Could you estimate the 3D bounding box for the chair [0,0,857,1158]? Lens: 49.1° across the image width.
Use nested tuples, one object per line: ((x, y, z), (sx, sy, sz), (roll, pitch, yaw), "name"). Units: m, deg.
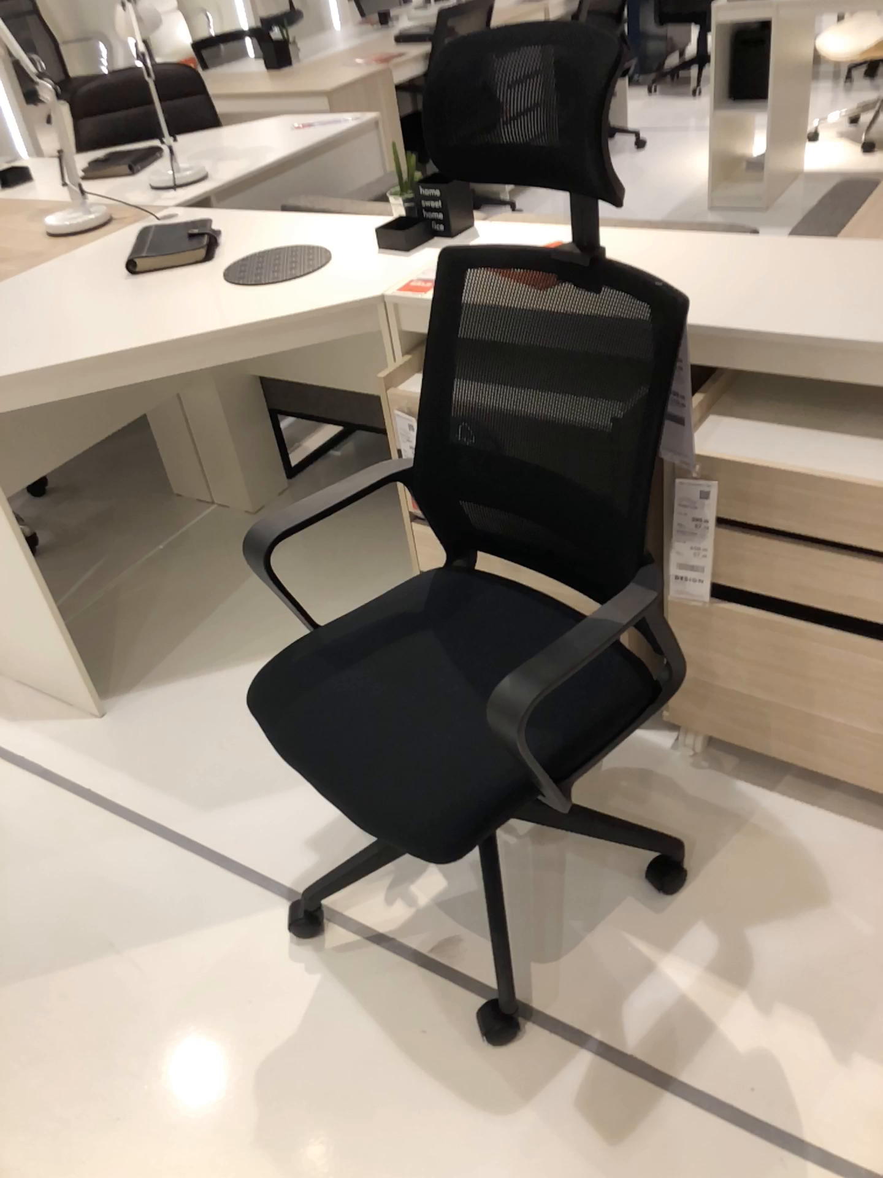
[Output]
((-0.010, -0.036, 1.235), (0.663, 1.130, 0.663), (-34, 42, -30), "chair")
